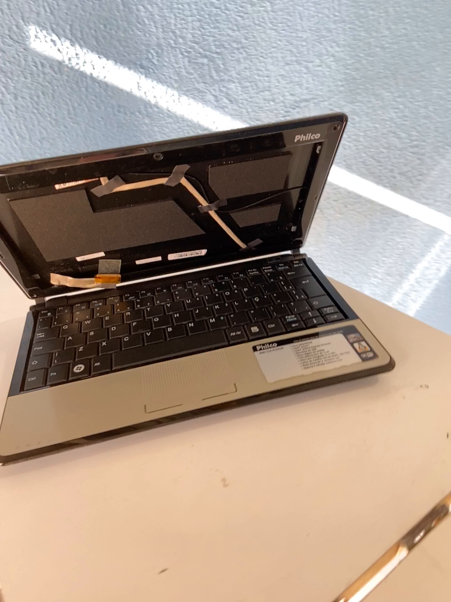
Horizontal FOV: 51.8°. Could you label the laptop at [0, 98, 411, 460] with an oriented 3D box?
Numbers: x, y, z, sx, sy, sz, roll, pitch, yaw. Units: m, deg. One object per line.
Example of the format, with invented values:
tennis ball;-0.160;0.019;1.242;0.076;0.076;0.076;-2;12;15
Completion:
laptop;-0.042;-0.037;0.349;0.275;0.144;0.177;-12;33;-7
